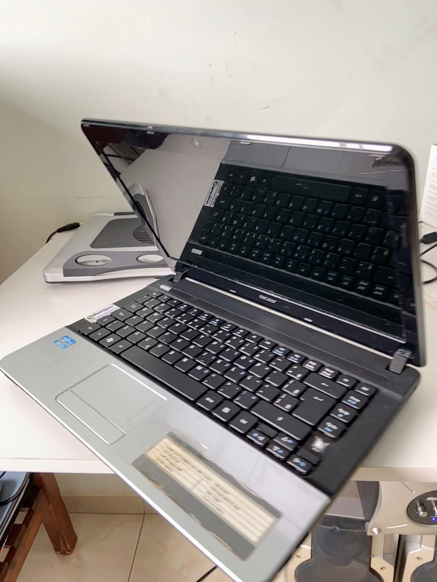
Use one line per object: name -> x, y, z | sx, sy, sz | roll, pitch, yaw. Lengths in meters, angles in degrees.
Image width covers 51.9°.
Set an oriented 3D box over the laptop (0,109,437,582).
laptop -> -0.034, -0.019, 0.380 | 0.327, 0.211, 0.239 | 21, 37, 38
